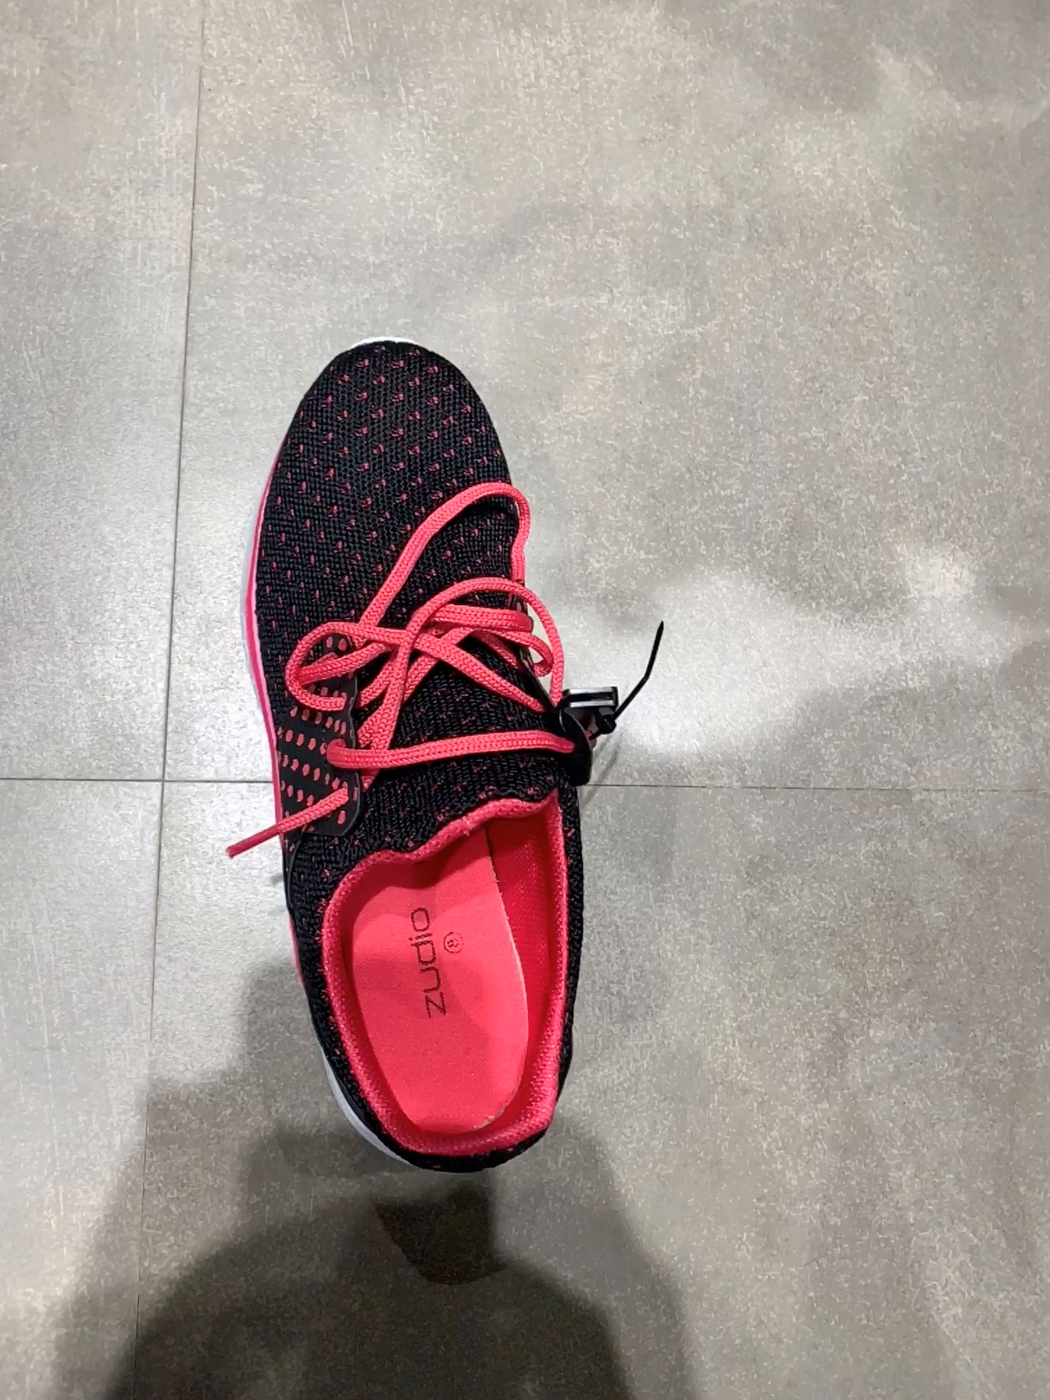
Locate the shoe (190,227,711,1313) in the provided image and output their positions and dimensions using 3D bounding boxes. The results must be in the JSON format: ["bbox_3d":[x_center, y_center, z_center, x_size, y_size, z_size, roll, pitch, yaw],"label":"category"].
[{"bbox_3d":[-0.029,0.013,0.323,0.110,0.110,0.263,-4,82,-10],"label":"shoe"}]
